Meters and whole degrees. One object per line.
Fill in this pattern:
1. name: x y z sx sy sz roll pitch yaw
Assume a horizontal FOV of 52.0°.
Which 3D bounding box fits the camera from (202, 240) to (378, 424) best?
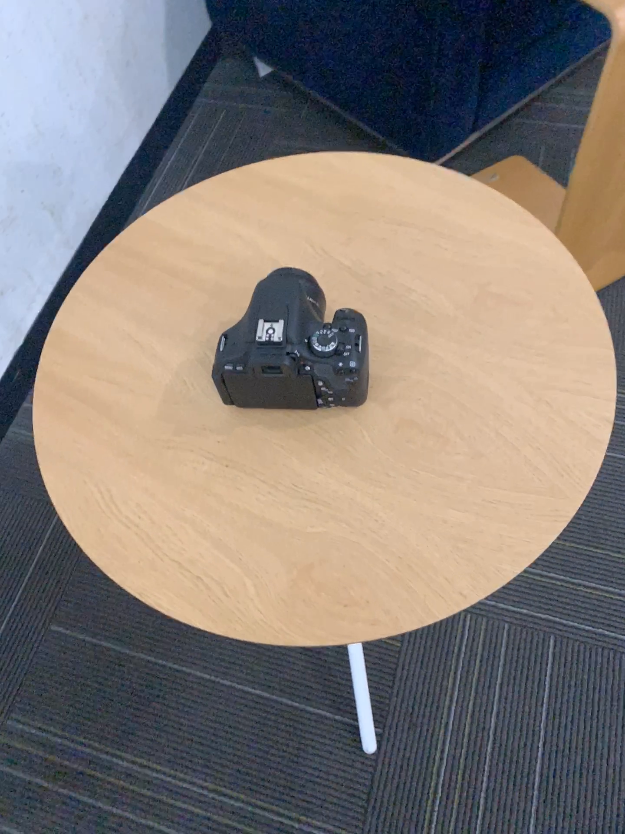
1. camera: -0.011 -0.073 0.558 0.130 0.100 0.120 2 60 7
